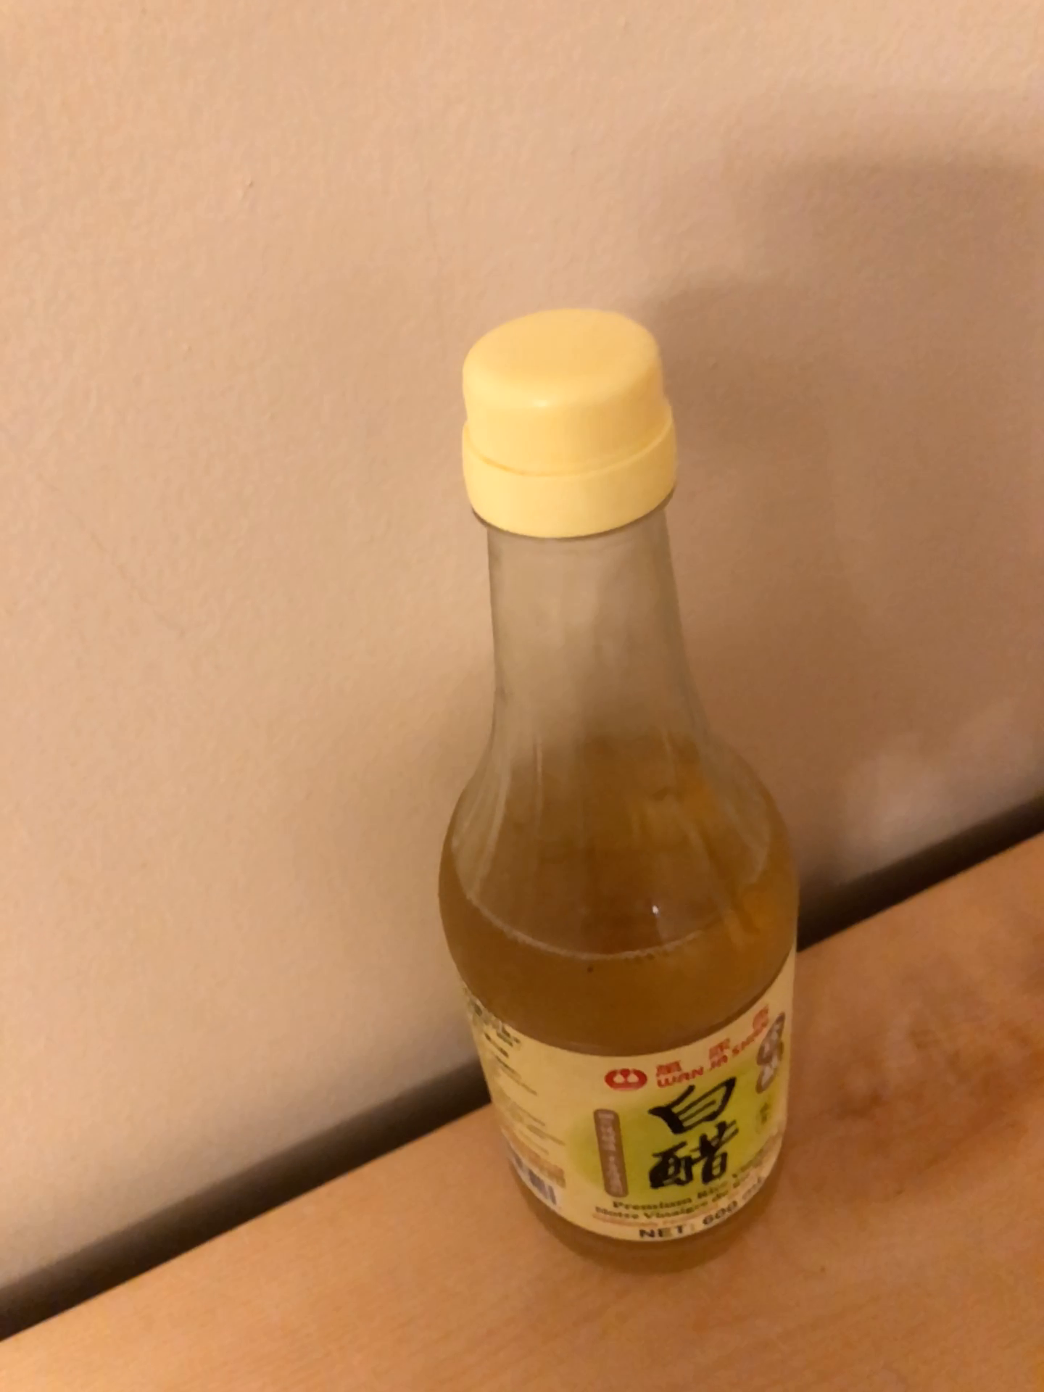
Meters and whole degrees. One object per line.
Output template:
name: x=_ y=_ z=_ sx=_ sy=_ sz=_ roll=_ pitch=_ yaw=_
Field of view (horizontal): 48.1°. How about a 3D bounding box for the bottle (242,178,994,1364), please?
bottle: x=0.024 y=0.036 z=0.243 sx=0.080 sy=0.238 sz=0.081 roll=-6 pitch=41 yaw=5
